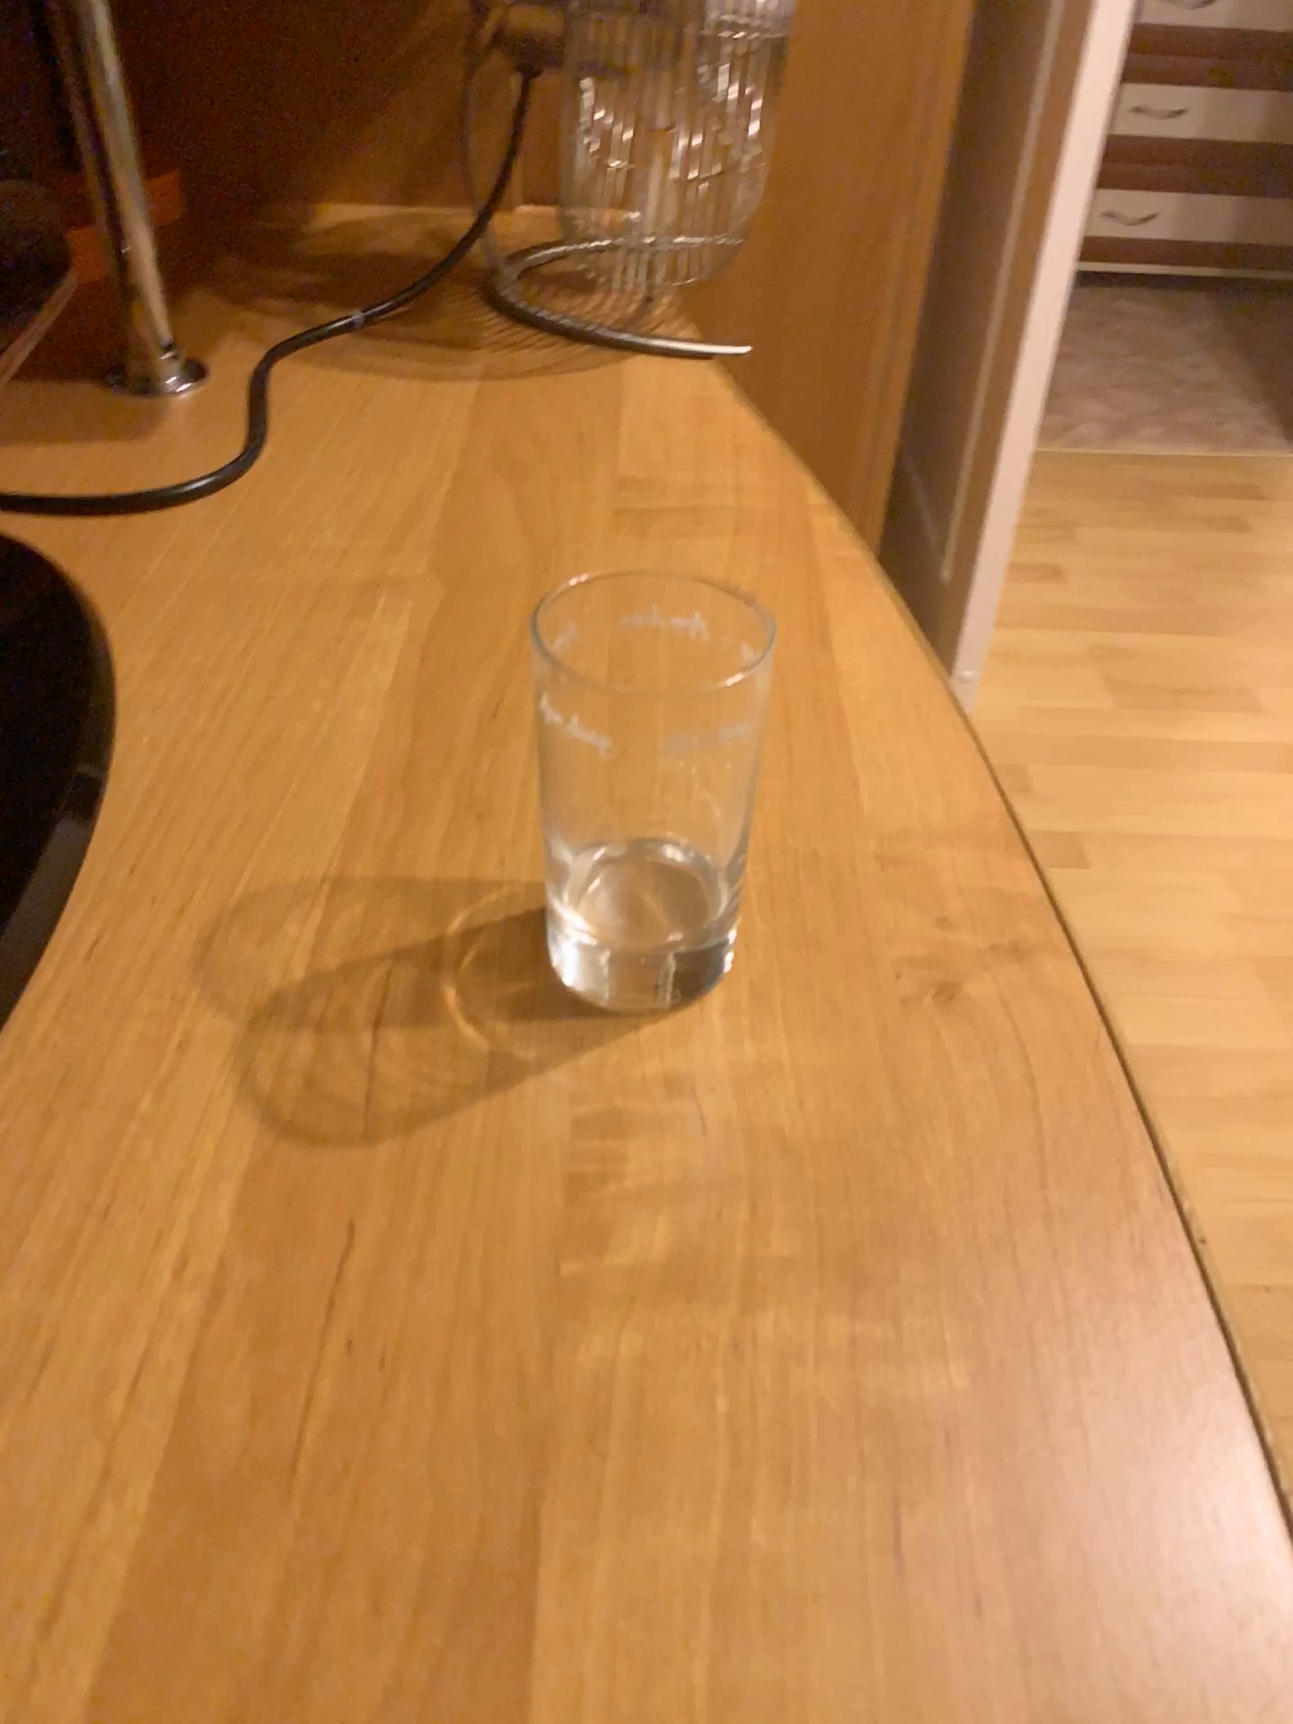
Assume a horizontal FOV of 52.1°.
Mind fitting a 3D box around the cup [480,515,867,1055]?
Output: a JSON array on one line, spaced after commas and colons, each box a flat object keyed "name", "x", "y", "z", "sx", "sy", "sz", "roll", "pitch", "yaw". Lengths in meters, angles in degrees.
[{"name": "cup", "x": 0.004, "y": -0.019, "z": 0.319, "sx": 0.060, "sy": 0.099, "sz": 0.060, "roll": 1, "pitch": 40, "yaw": -1}]
